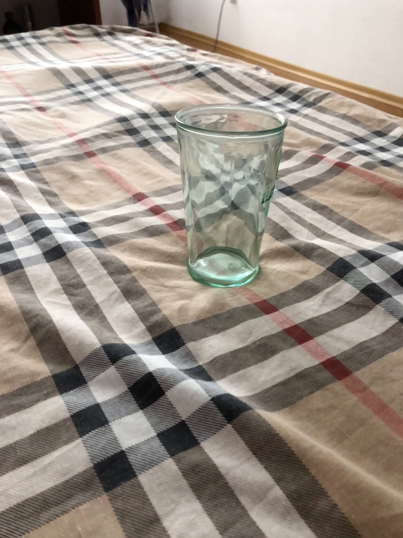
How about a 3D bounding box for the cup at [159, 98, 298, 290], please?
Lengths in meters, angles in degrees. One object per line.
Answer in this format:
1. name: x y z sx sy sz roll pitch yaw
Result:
1. cup: 0.020 -0.056 0.327 0.082 0.112 0.086 -1 34 1
